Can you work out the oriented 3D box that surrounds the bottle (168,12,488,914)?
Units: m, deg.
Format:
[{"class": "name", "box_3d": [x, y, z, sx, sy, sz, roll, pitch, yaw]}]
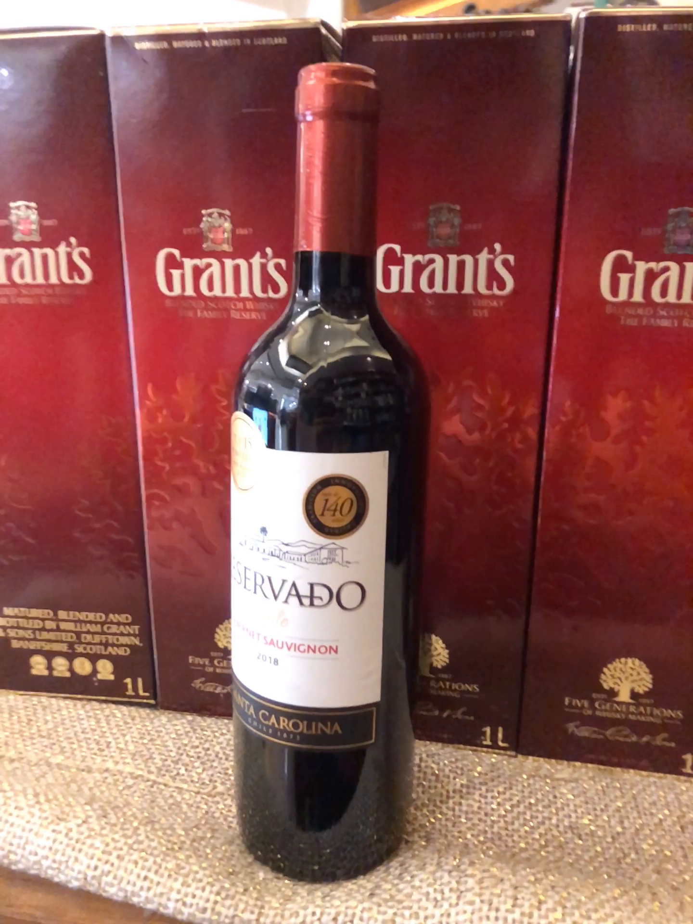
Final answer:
[{"class": "bottle", "box_3d": [-0.008, 0.008, 0.285, 0.080, 0.288, 0.070, 9, 16, 26]}]
